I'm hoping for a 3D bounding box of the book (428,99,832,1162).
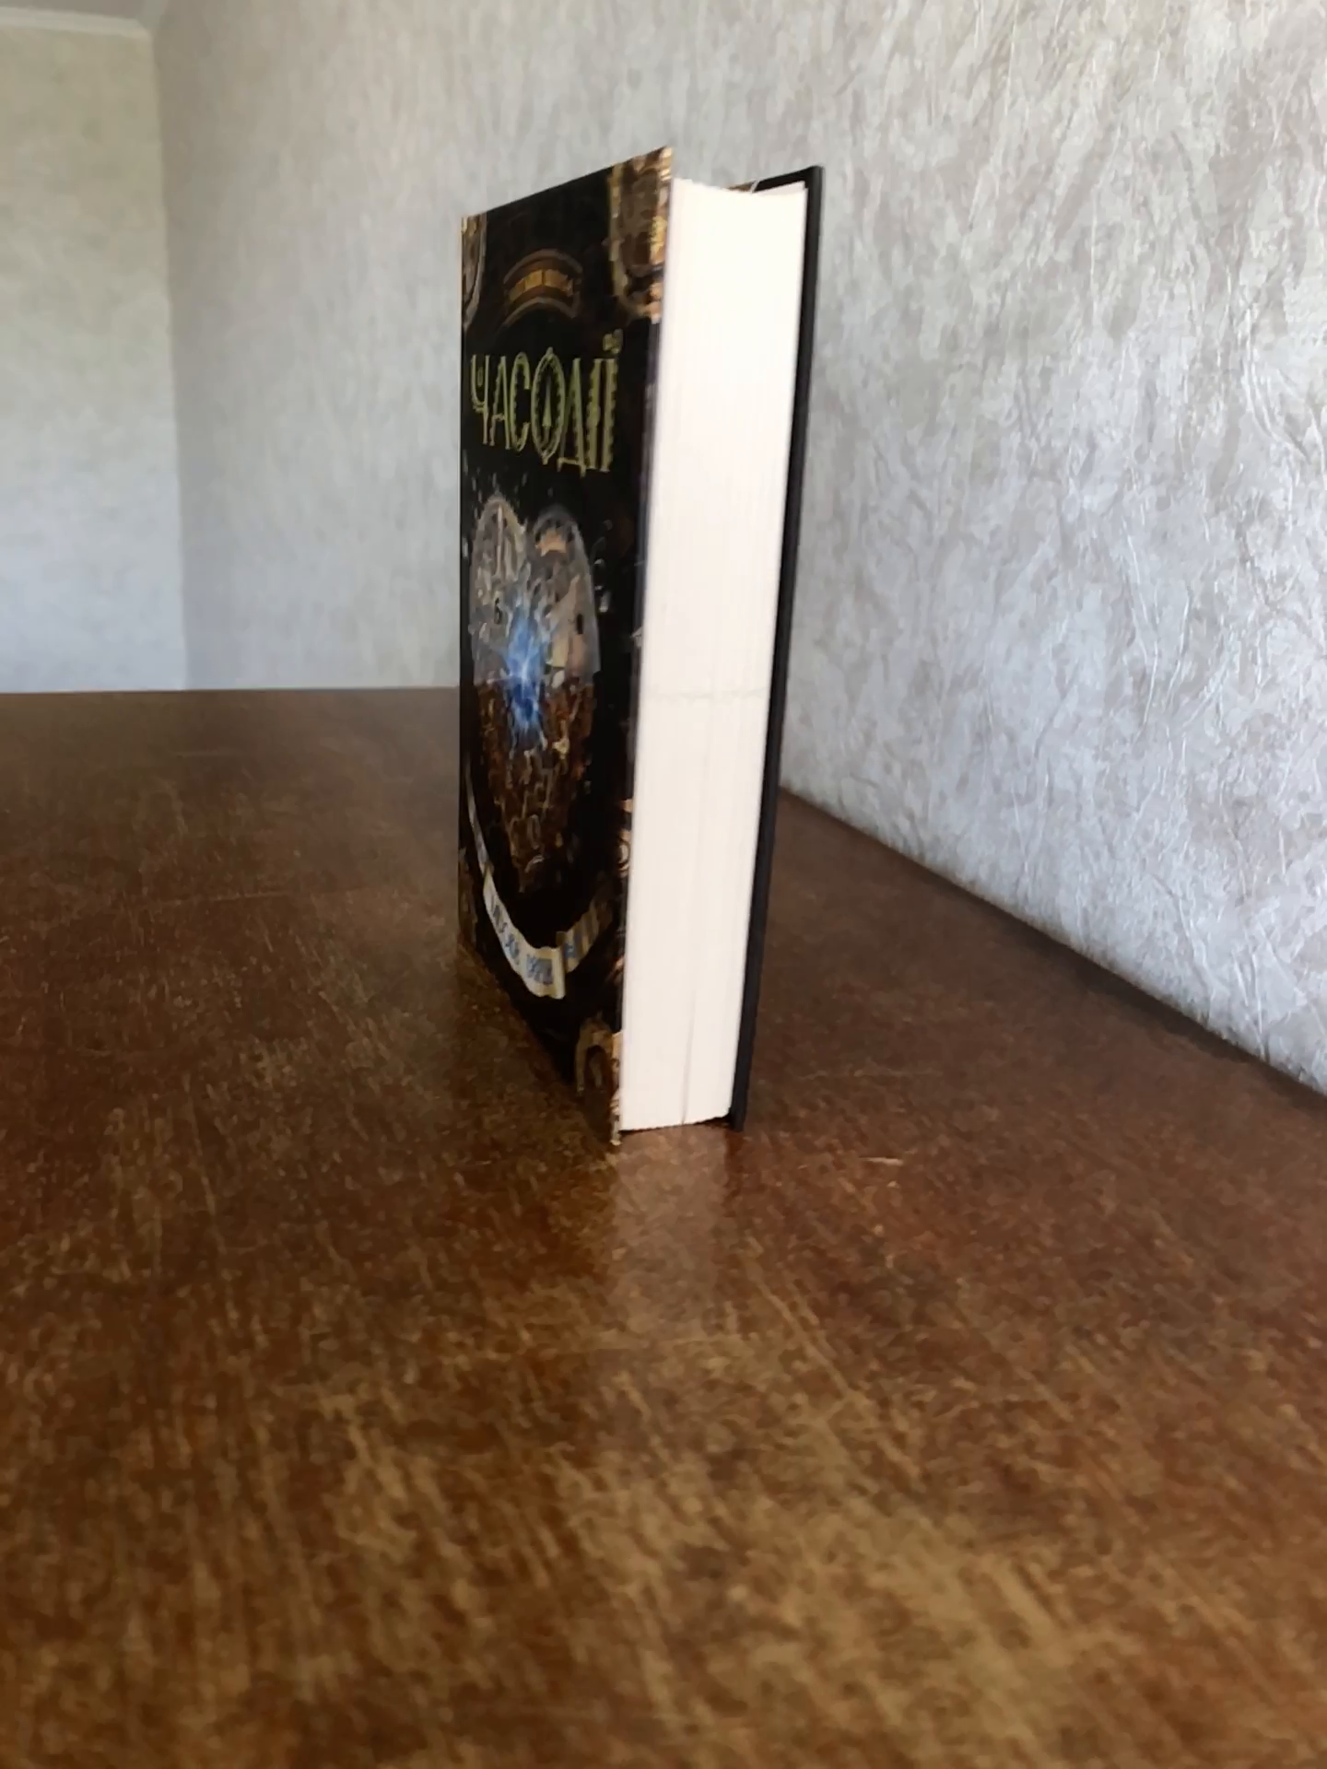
[{"bbox_3d":[-0.023,-0.069,0.397,0.041,0.228,0.167,-3,17,-22],"label":"book"}]
